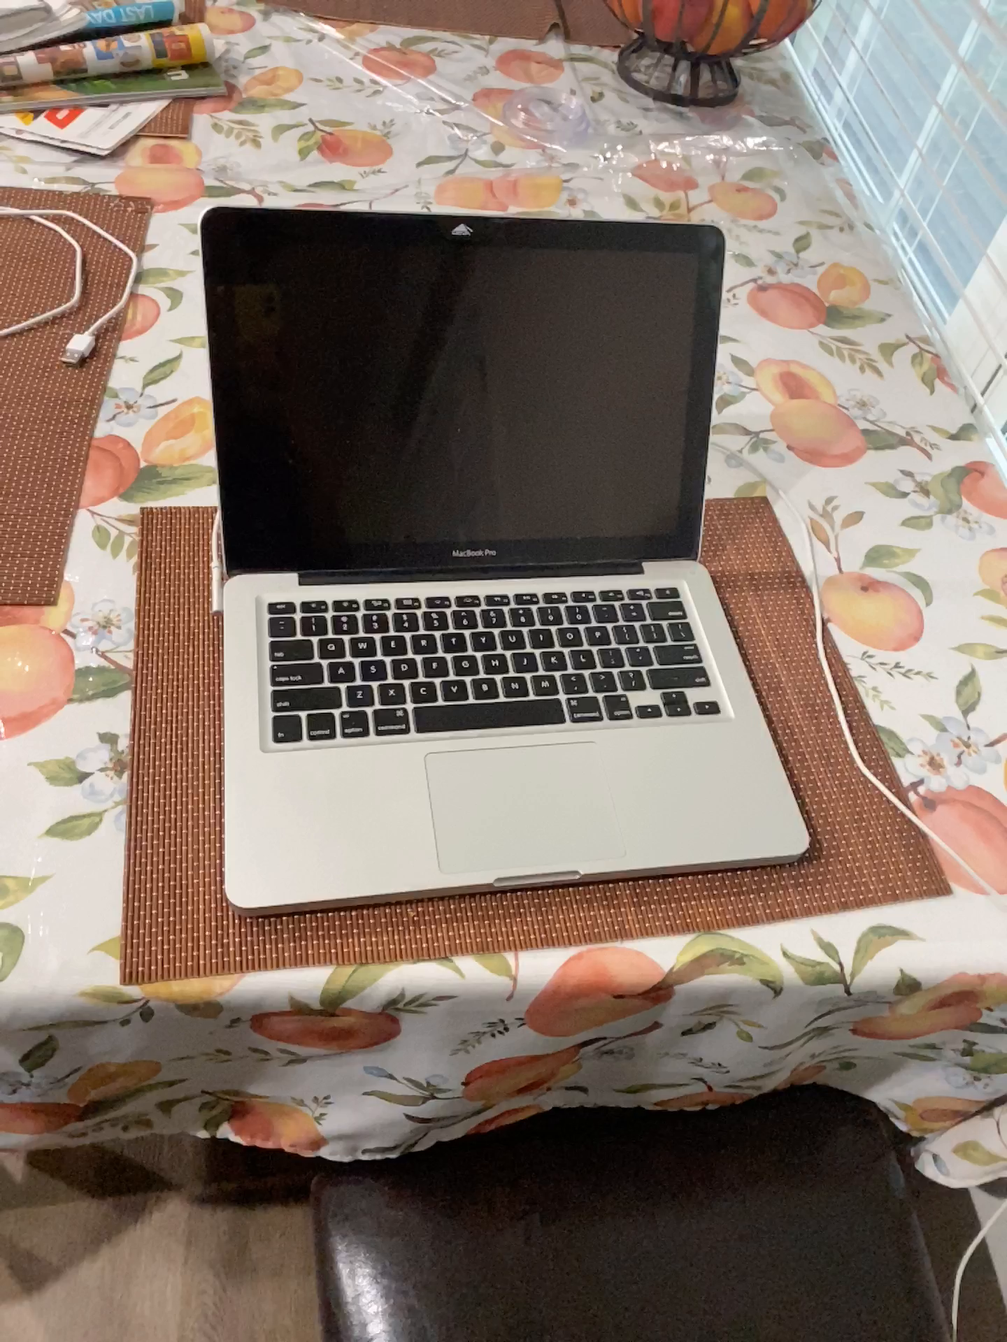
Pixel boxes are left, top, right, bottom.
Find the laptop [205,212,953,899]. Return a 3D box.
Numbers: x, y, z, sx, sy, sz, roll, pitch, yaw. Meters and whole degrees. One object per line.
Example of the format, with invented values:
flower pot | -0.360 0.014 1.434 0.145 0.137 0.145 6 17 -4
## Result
laptop | 0.005 -0.084 0.584 0.317 0.162 0.349 -3 55 -11
